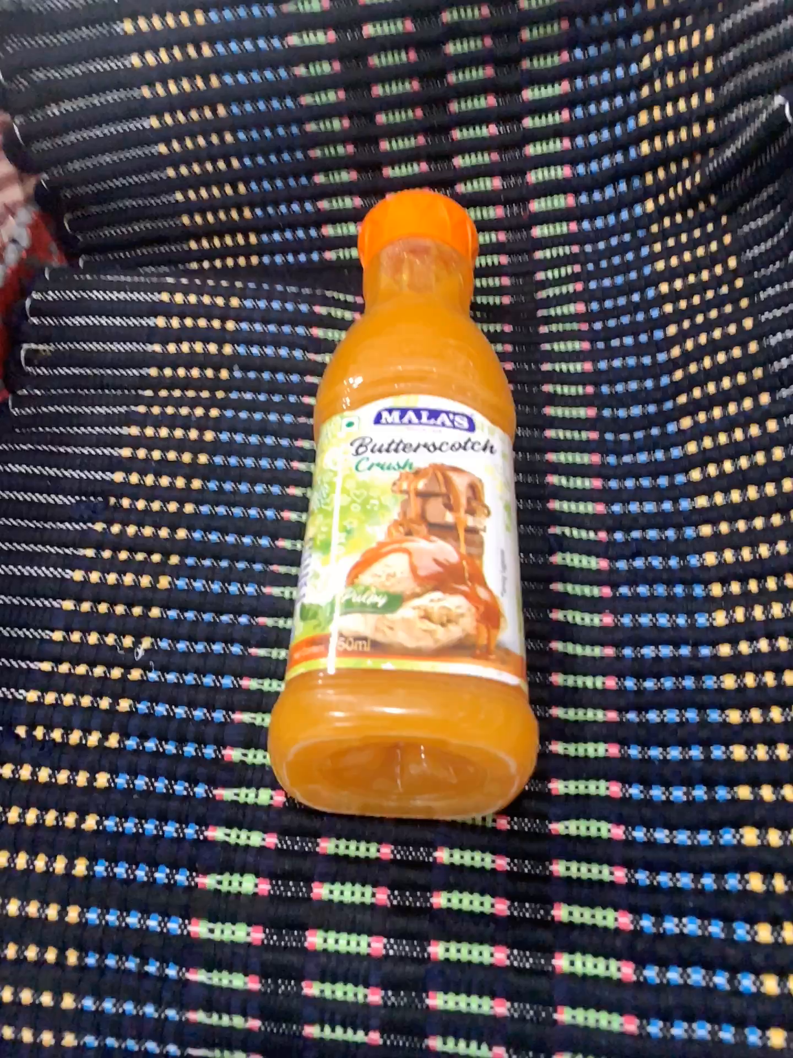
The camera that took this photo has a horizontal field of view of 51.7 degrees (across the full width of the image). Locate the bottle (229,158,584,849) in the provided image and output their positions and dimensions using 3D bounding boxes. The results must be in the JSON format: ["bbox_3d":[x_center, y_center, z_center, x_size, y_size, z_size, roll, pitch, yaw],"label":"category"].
[{"bbox_3d":[0.008,-0.035,0.267,0.070,0.060,0.251,2,48,2],"label":"bottle"}]
